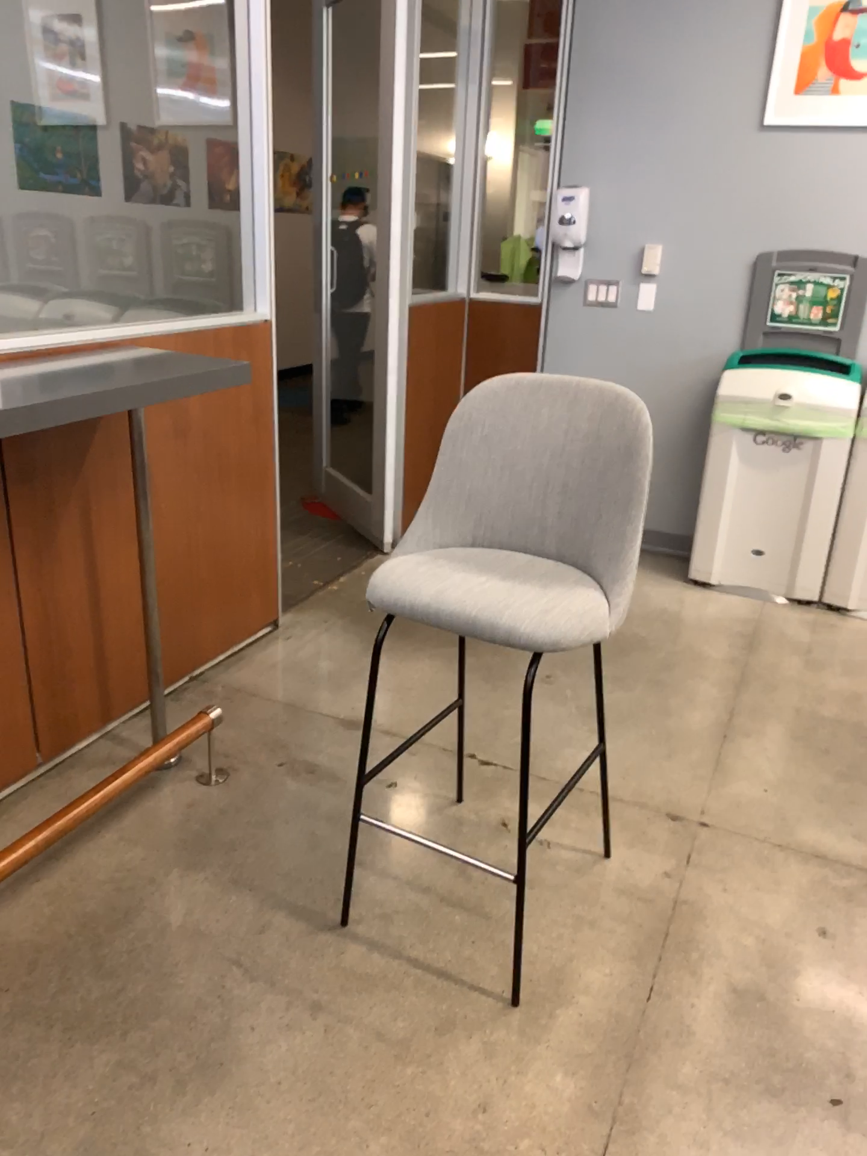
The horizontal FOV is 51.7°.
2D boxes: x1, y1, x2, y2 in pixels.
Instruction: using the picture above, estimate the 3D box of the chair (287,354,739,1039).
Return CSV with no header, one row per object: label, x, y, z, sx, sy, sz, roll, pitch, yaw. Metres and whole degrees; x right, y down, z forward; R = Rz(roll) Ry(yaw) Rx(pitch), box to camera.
chair,0.178,0.147,1.910,0.591,1.095,0.812,13,23,26
